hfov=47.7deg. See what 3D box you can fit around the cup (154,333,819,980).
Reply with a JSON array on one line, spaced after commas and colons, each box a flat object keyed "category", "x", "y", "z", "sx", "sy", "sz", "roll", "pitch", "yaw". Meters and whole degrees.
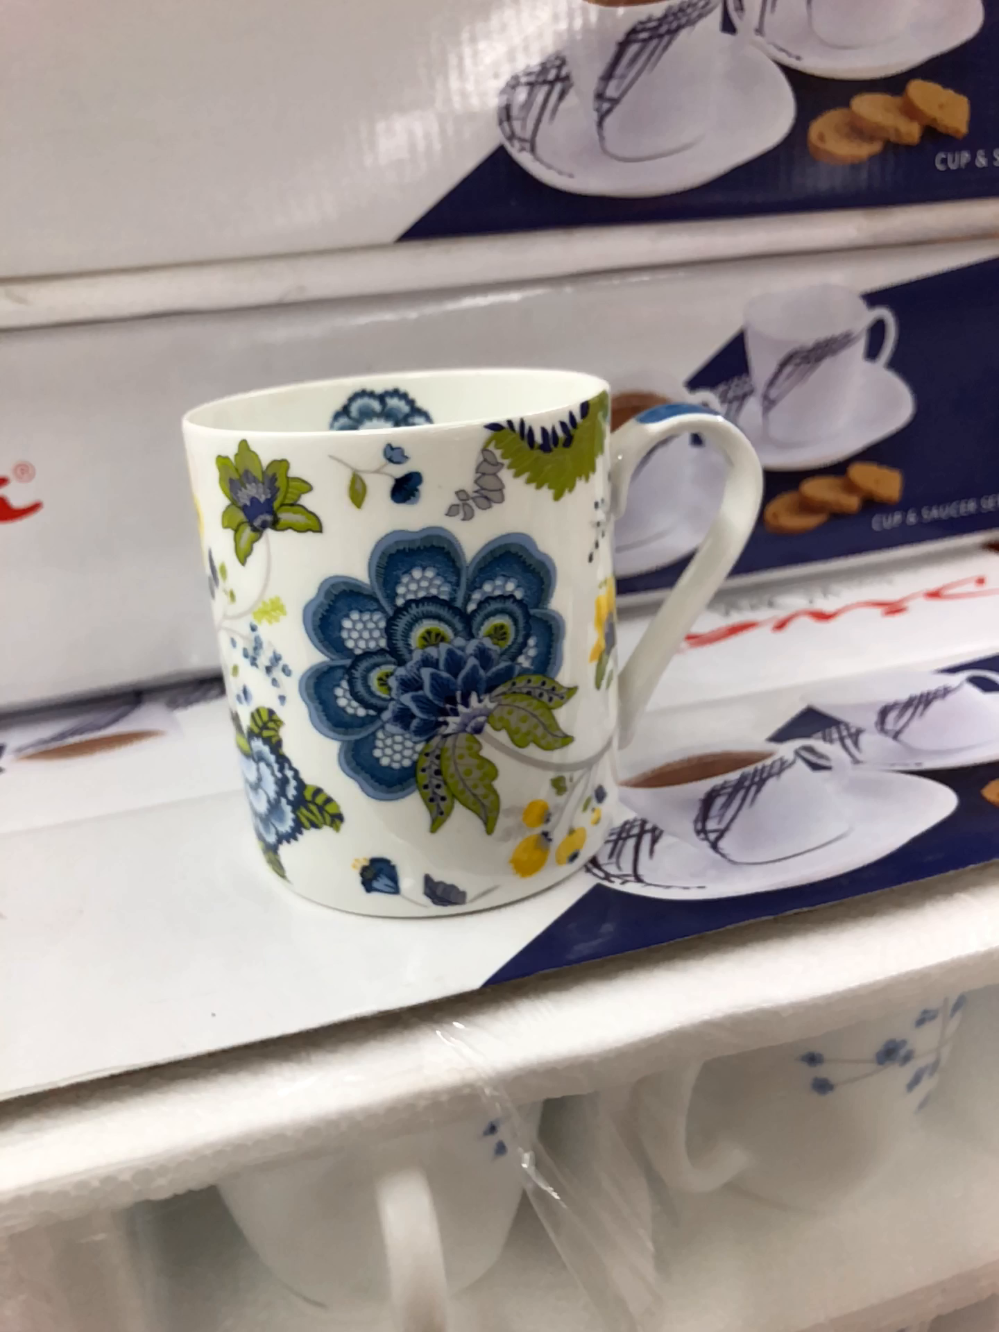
[{"category": "cup", "x": -0.004, "y": -0.011, "z": 0.218, "sx": 0.100, "sy": 0.090, "sz": 0.070, "roll": -12, "pitch": 23, "yaw": -20}]
